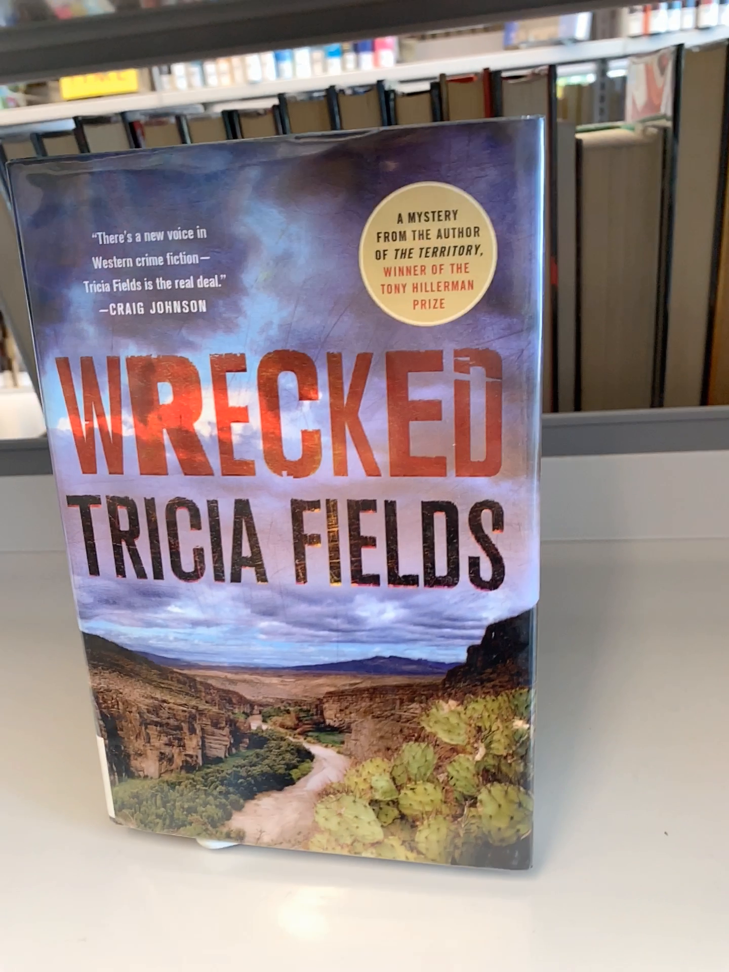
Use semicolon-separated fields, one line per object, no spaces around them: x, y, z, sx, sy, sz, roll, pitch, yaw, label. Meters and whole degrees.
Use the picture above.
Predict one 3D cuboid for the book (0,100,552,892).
-0.022;0.013;0.228;0.150;0.213;0.034;0;16;13;book
